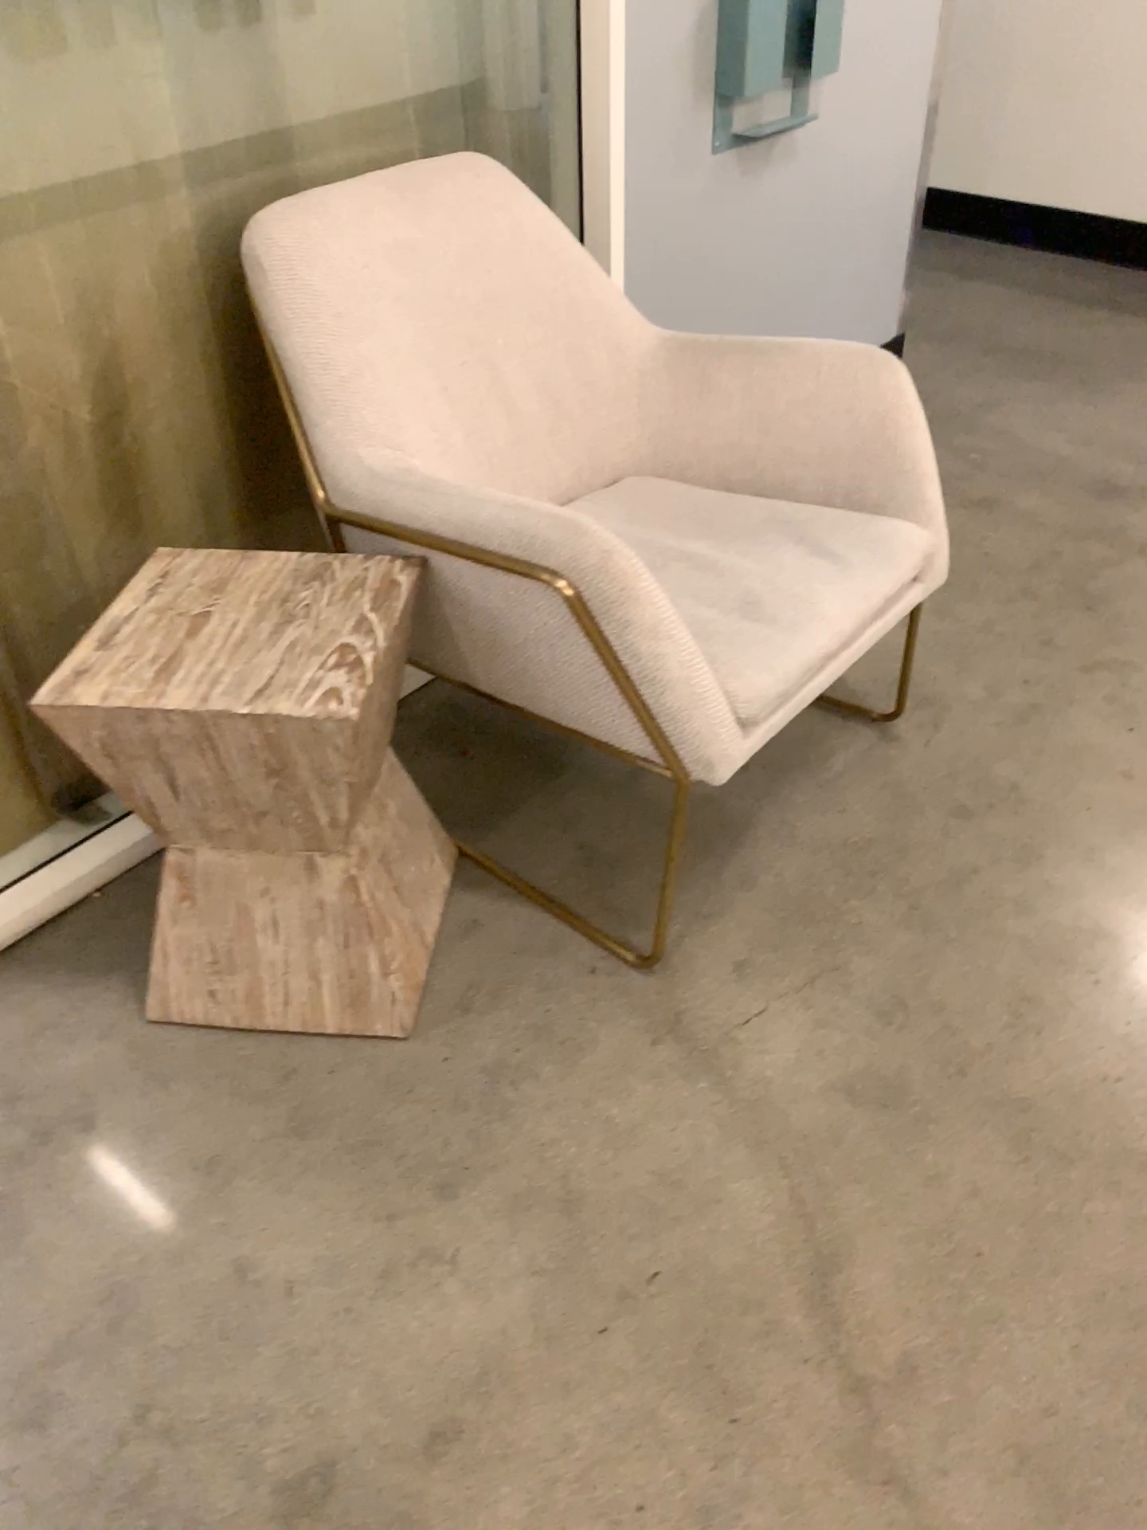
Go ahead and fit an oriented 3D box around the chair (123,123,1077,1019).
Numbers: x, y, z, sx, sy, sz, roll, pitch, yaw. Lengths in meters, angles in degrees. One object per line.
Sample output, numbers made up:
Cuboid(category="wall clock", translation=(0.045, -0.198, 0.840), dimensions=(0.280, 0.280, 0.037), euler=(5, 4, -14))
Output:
Cuboid(category="chair", translation=(0.044, -0.354, 1.671), dimensions=(0.883, 0.815, 0.752), euler=(25, 45, 30))
